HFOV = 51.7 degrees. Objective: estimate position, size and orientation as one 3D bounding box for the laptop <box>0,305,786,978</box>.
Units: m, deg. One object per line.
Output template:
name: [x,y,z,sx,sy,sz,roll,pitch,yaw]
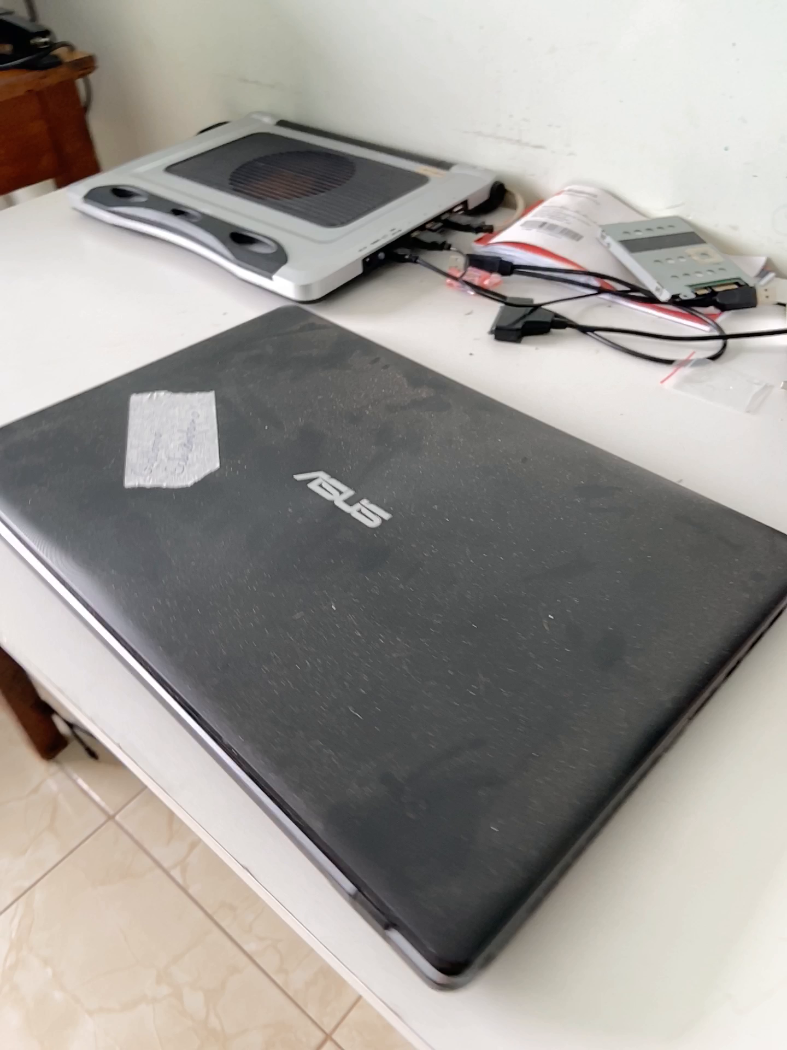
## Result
laptop: [-0.022,-0.009,0.416,0.251,0.007,0.386,-34,50,-31]
